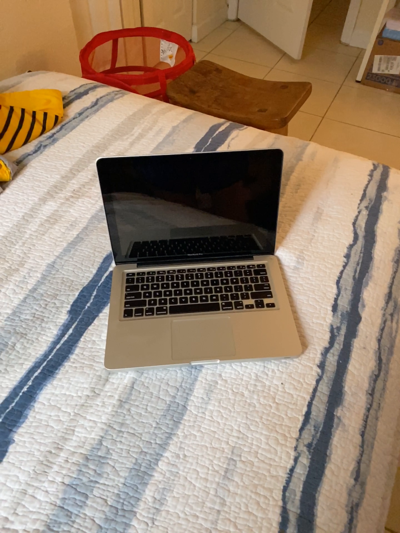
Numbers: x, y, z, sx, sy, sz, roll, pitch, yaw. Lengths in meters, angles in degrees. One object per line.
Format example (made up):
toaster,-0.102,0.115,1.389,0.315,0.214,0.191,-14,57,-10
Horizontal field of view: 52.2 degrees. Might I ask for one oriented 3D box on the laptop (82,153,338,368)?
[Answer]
laptop,0.000,-0.017,0.674,0.318,0.199,0.279,-3,48,-3
